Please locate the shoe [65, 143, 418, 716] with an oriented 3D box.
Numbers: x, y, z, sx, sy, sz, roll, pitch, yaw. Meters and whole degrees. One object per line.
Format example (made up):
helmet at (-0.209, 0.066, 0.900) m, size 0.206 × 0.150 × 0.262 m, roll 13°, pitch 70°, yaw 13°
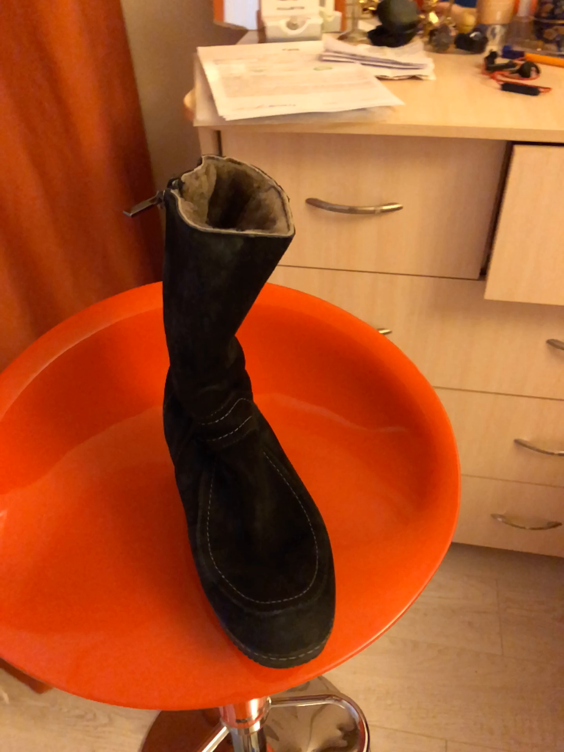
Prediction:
shoe at (-0.040, 0.022, 0.405) m, size 0.100 × 0.248 × 0.261 m, roll -17°, pitch 42°, yaw -17°
